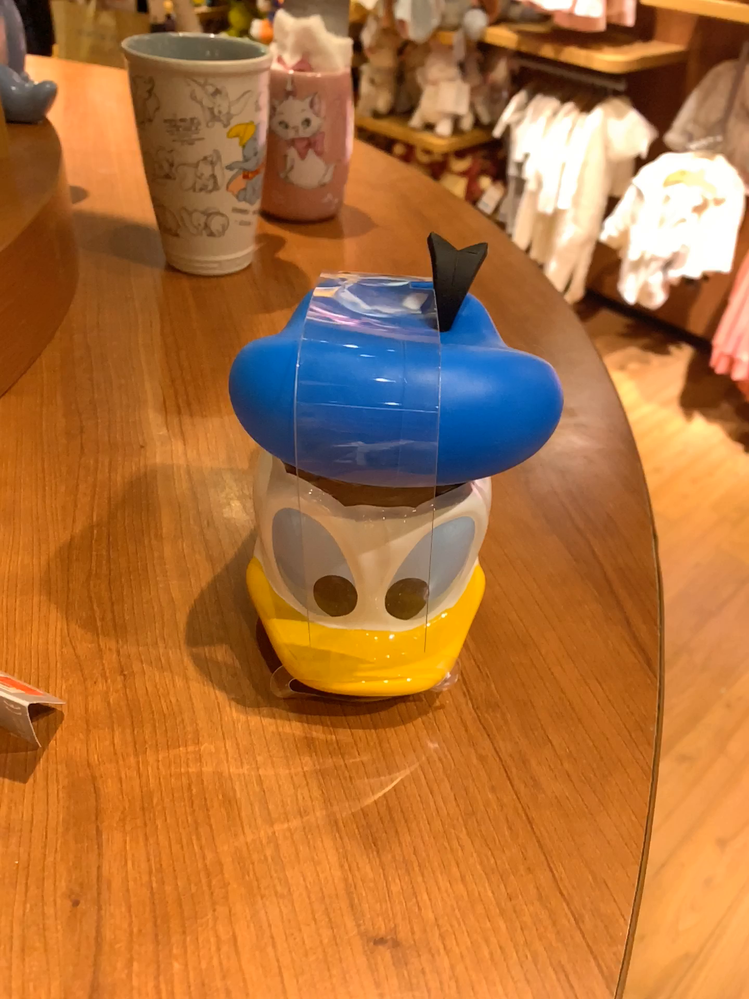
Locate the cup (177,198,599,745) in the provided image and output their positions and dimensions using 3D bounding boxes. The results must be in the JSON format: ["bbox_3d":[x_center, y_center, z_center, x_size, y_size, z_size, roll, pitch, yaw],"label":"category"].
[{"bbox_3d":[0.000,-0.014,0.293,0.105,0.132,0.151,4,43,-2],"label":"cup"}]
